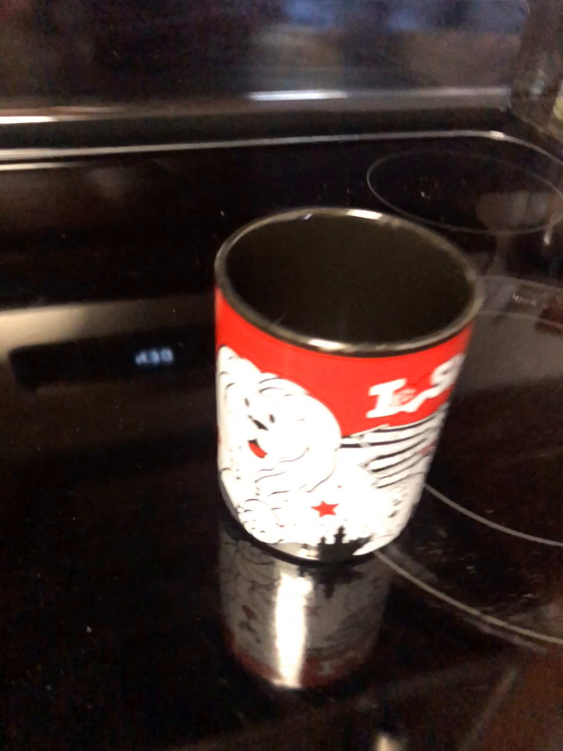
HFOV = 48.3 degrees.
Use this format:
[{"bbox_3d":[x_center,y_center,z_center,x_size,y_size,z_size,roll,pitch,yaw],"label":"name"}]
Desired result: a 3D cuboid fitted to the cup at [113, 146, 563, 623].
[{"bbox_3d":[0.027,-0.009,0.220,0.130,0.090,0.090,-30,50,-34],"label":"cup"}]
